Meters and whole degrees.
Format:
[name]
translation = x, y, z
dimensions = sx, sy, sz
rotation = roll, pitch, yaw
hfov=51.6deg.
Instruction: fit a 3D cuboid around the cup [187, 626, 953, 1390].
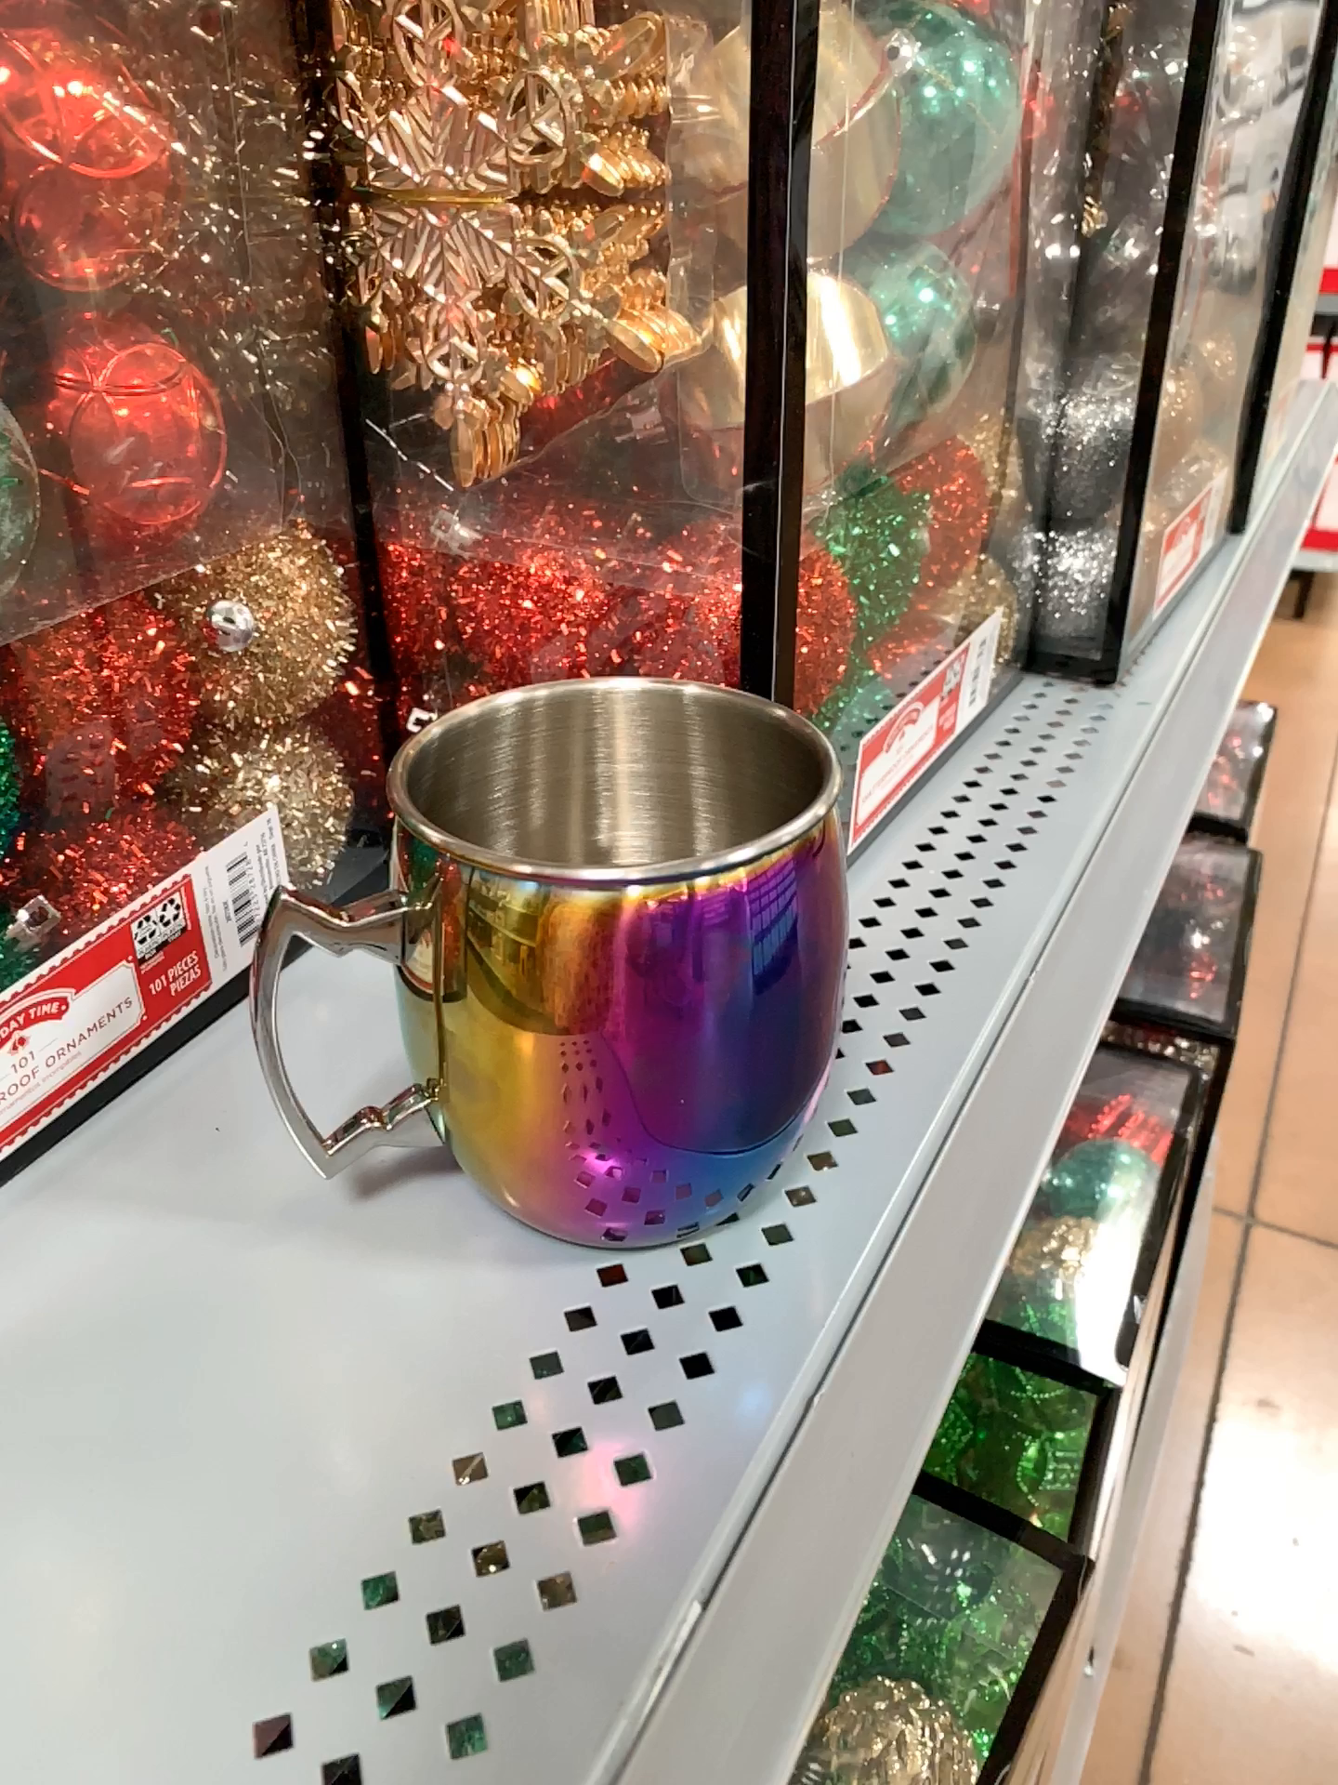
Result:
[cup]
translation = -0.020, 0.013, 0.271
dimensions = 0.110, 0.090, 0.088
rotation = -16, 34, -26
